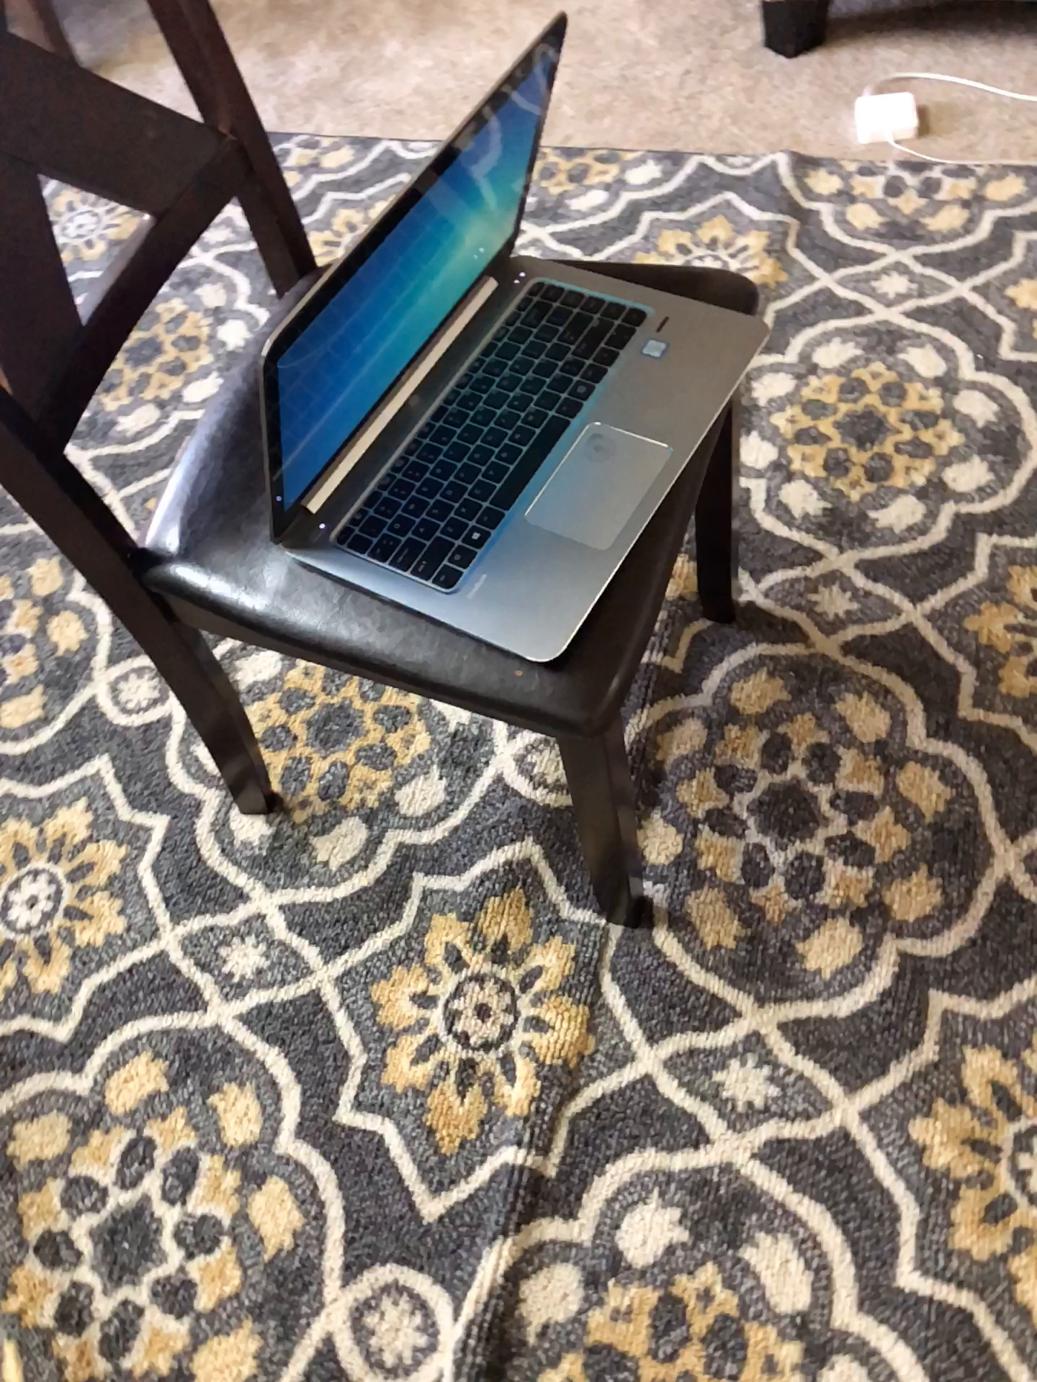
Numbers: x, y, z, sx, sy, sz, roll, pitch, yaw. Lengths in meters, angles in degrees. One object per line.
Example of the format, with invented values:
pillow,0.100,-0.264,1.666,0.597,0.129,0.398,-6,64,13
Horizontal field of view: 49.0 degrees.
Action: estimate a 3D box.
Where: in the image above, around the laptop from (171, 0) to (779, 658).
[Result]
laptop,-0.004,-0.237,0.722,0.212,0.194,0.323,24,65,22
